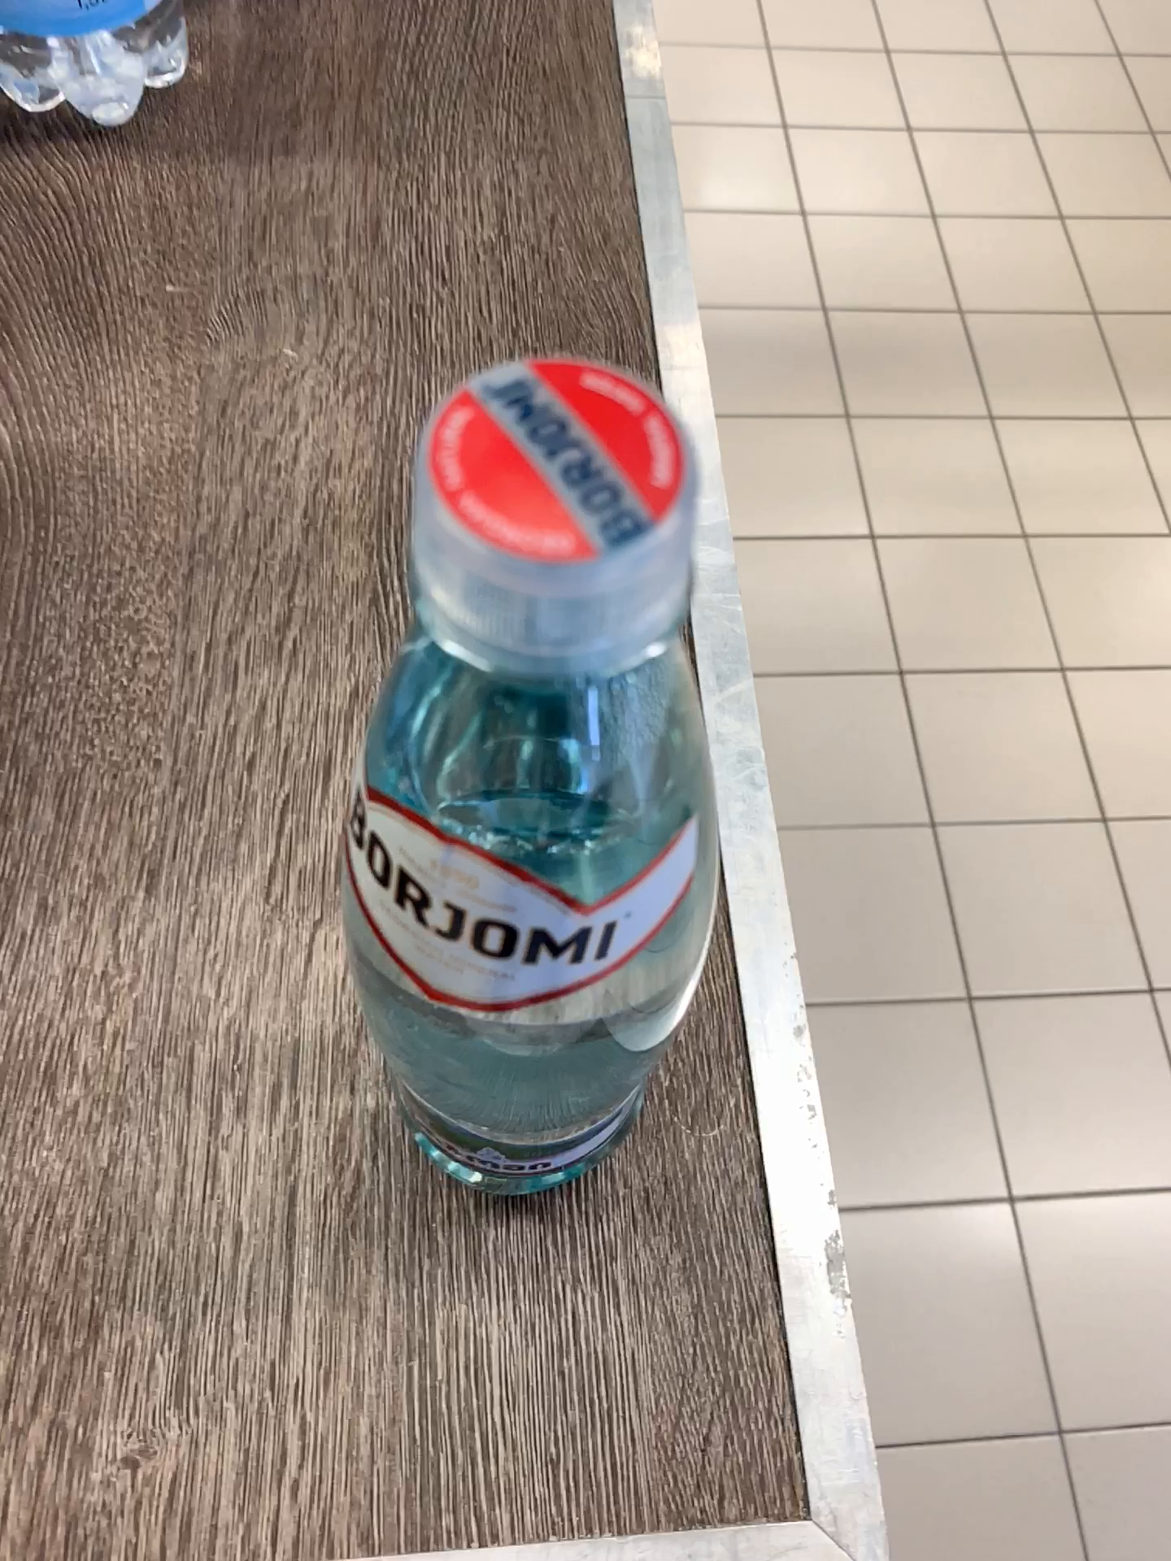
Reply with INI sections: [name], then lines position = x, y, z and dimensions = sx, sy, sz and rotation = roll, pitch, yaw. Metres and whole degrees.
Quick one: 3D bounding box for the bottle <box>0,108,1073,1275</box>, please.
[bottle]
position = -0.013, 0.024, 0.221
dimensions = 0.080, 0.239, 0.070
rotation = 34, 66, 13
